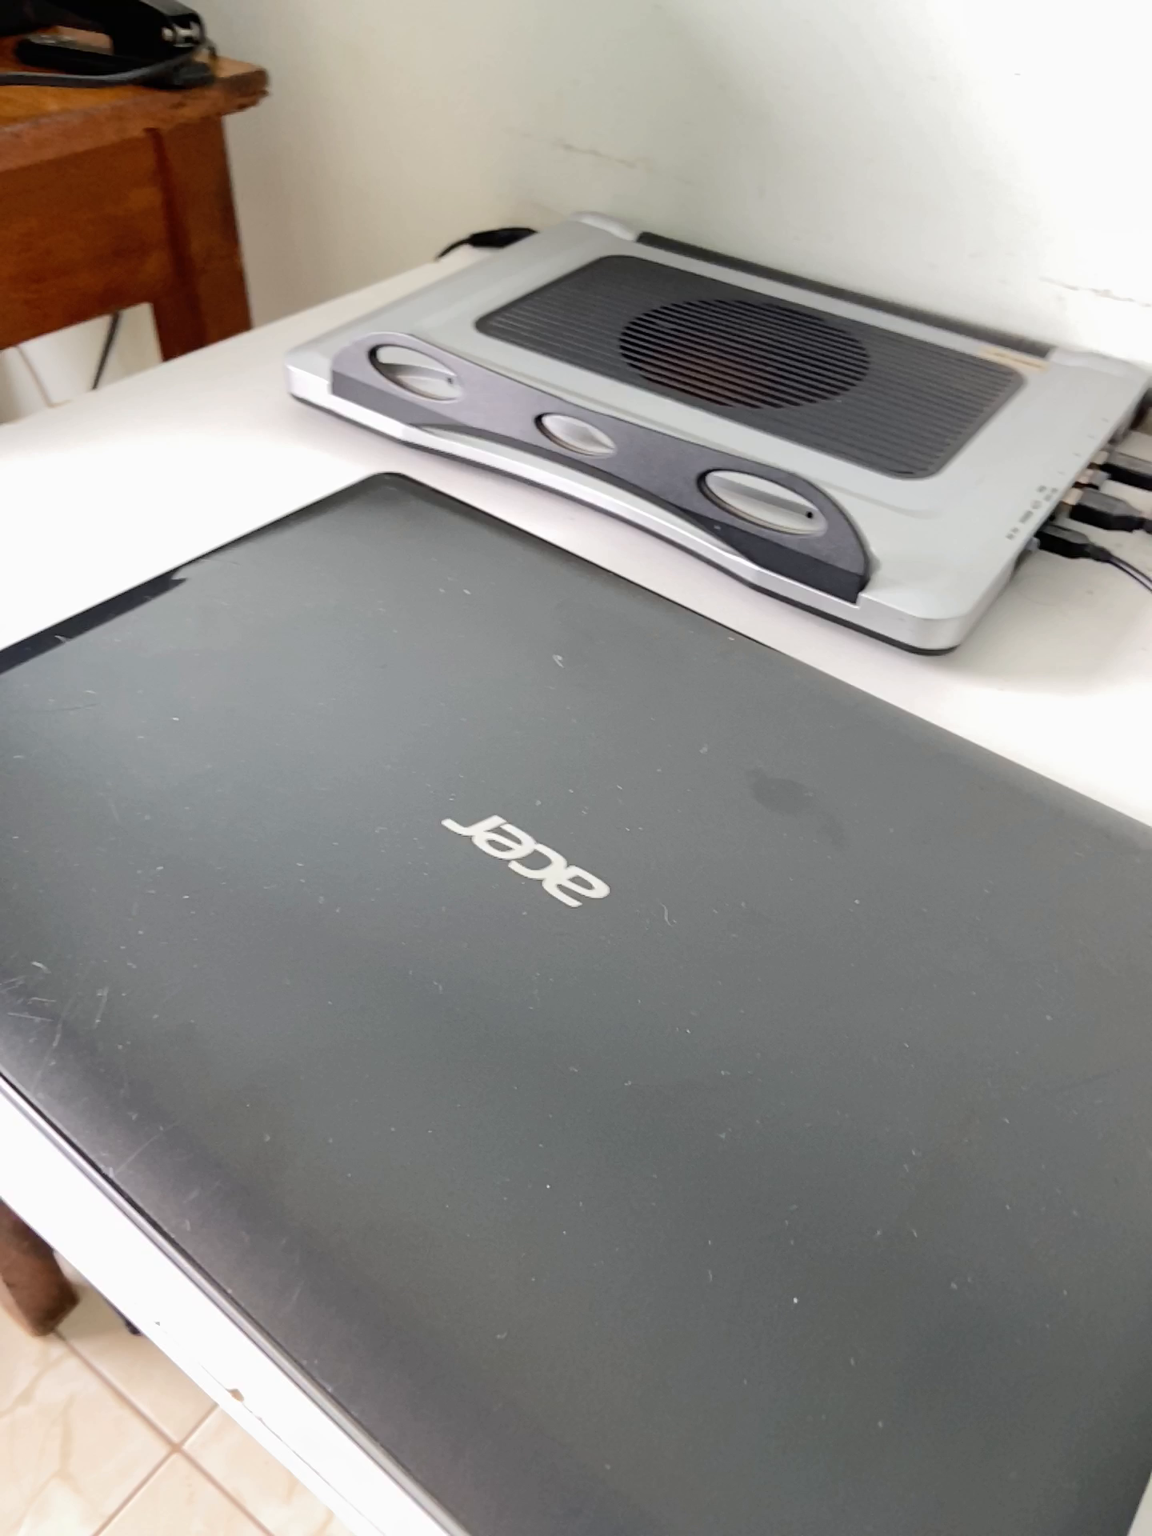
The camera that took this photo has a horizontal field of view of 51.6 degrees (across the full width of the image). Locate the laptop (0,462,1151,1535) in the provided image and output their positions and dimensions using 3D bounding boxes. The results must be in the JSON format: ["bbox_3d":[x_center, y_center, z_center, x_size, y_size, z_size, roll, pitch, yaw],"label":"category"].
[{"bbox_3d":[-0.008,0.020,0.298,0.335,0.005,0.231,30,47,26],"label":"laptop"}]
